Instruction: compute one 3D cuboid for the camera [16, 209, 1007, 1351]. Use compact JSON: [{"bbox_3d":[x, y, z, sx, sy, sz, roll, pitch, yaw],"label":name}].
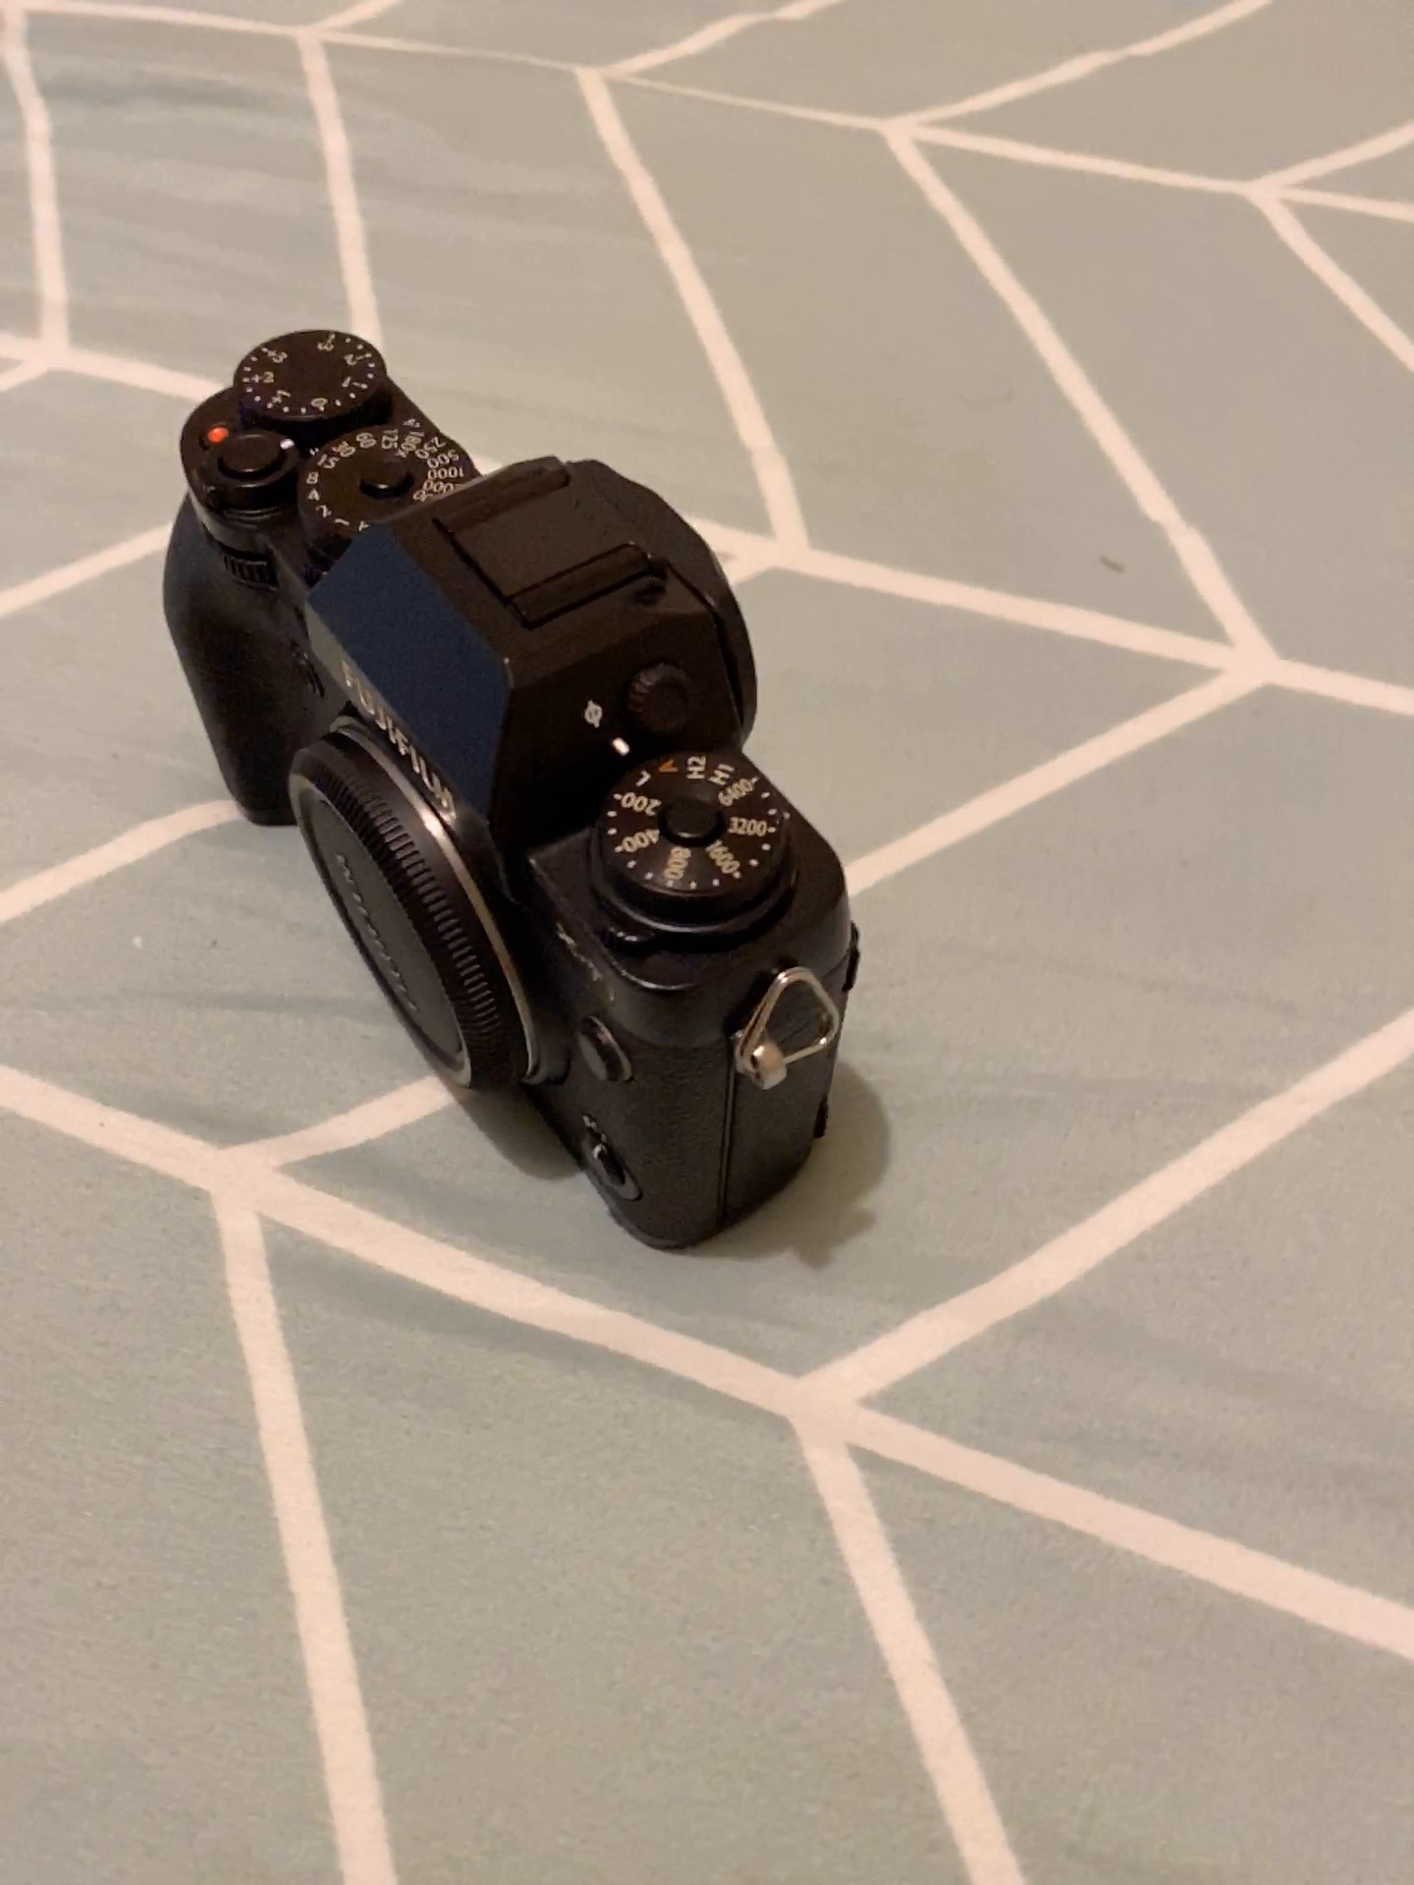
[{"bbox_3d":[-0.032,-0.027,0.213,0.054,0.082,0.142,-30,61,-20],"label":"camera"}]
